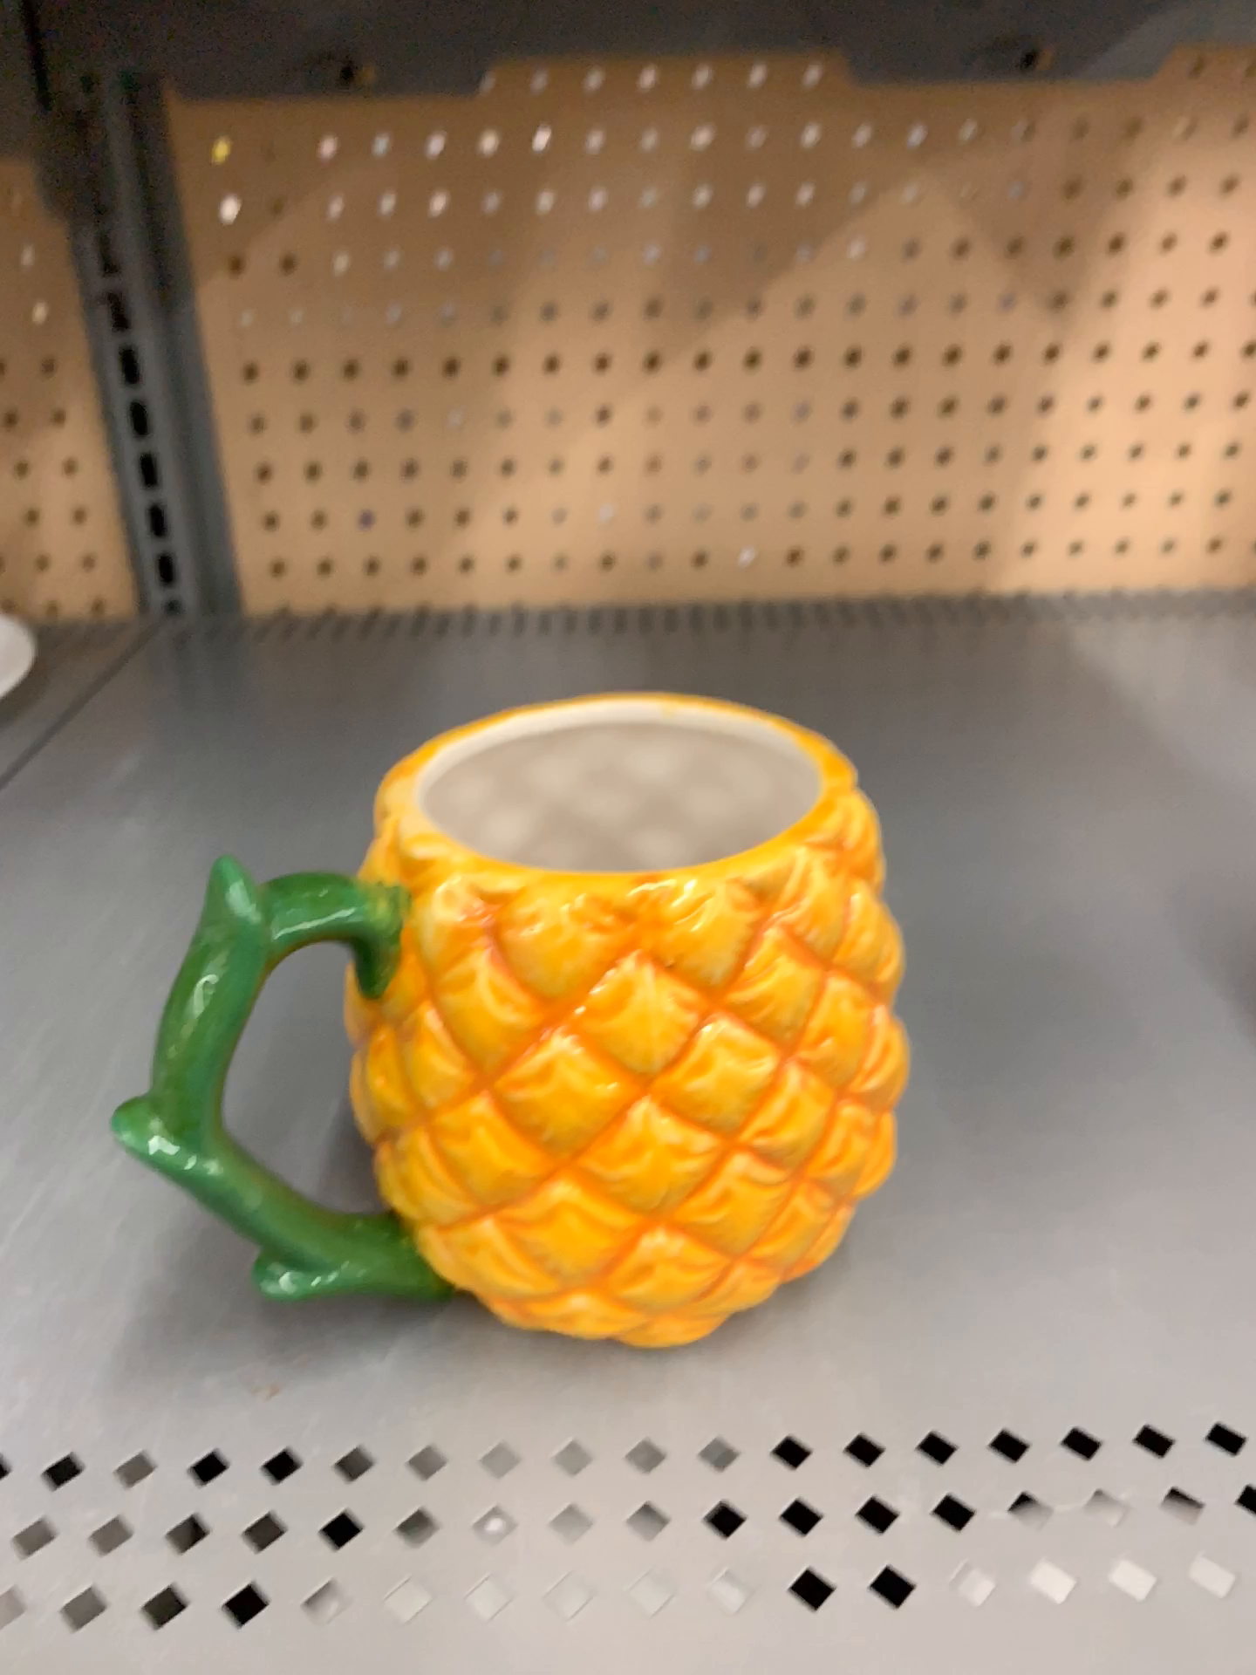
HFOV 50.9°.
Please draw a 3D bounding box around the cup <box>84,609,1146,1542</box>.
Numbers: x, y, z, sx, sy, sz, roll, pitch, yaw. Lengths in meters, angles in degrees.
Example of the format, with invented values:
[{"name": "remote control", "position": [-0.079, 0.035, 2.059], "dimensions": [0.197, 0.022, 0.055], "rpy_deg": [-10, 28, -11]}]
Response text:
[{"name": "cup", "position": [-0.006, 0.029, 0.254], "dimensions": [0.160, 0.100, 0.100], "rpy_deg": [-13, 29, -21]}]
